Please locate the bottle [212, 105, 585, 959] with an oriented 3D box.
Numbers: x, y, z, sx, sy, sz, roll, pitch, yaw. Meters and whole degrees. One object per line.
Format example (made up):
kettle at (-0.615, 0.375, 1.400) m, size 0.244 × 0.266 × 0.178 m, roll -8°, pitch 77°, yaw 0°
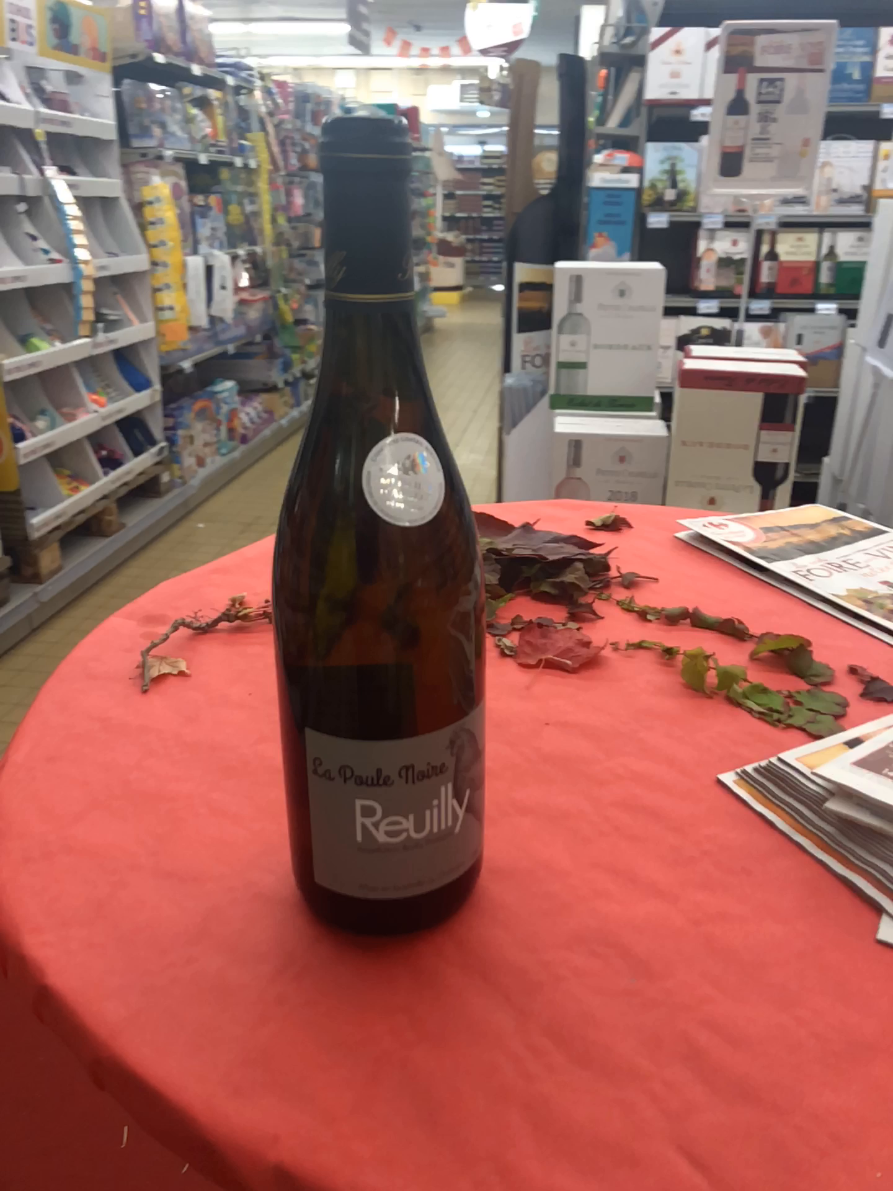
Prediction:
bottle at (-0.020, -0.020, 0.361) m, size 0.090 × 0.279 × 0.090 m, roll 0°, pitch 21°, yaw 0°
